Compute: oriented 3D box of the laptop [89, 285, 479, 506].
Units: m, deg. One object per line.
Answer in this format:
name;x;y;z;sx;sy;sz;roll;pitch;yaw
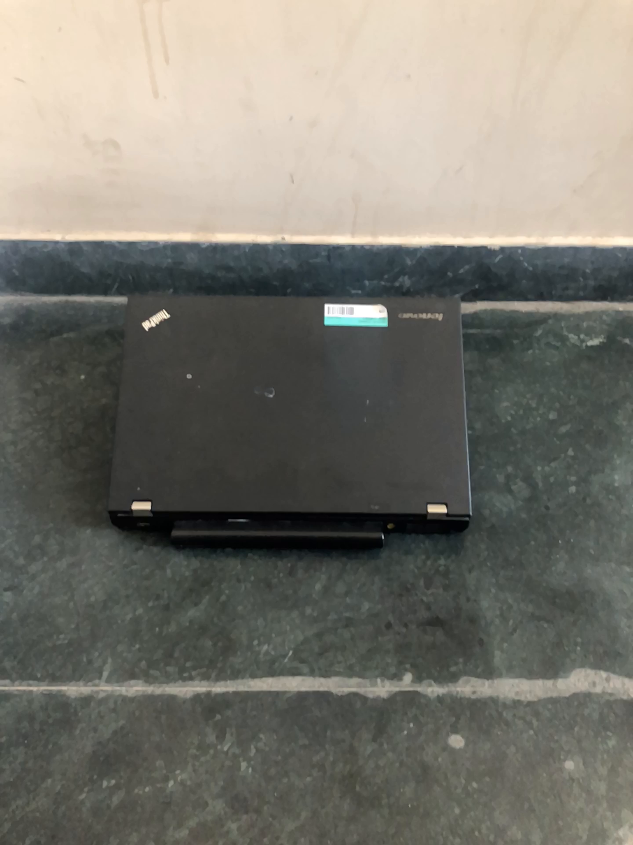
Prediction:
laptop;-0.026;-0.035;0.739;0.349;0.094;0.228;2;45;-1
